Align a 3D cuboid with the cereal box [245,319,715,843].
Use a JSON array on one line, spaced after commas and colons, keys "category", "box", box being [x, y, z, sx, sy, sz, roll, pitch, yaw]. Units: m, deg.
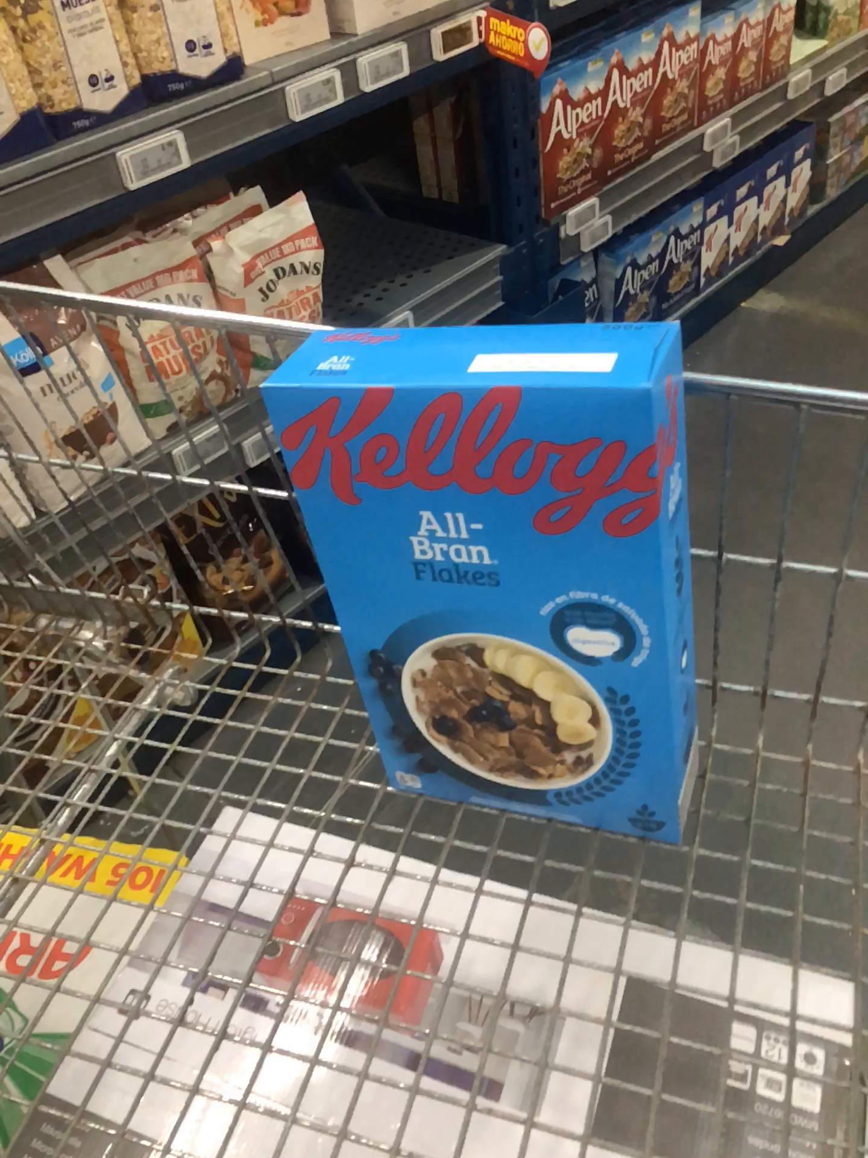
[{"category": "cereal box", "box": [0.040, 0.006, 0.514, 0.200, 0.269, 0.080, 5, 39, 21]}]
